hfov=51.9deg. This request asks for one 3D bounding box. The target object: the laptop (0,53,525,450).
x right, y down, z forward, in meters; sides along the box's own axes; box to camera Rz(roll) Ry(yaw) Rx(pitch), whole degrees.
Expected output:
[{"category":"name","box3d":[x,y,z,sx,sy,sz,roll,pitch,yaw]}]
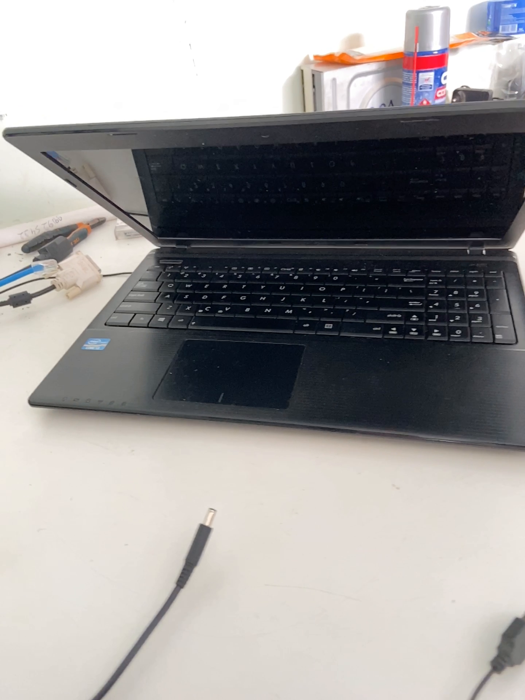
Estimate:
[{"category":"laptop","box3d":[0.018,-0.095,0.420,0.375,0.166,0.248,3,38,15]}]
